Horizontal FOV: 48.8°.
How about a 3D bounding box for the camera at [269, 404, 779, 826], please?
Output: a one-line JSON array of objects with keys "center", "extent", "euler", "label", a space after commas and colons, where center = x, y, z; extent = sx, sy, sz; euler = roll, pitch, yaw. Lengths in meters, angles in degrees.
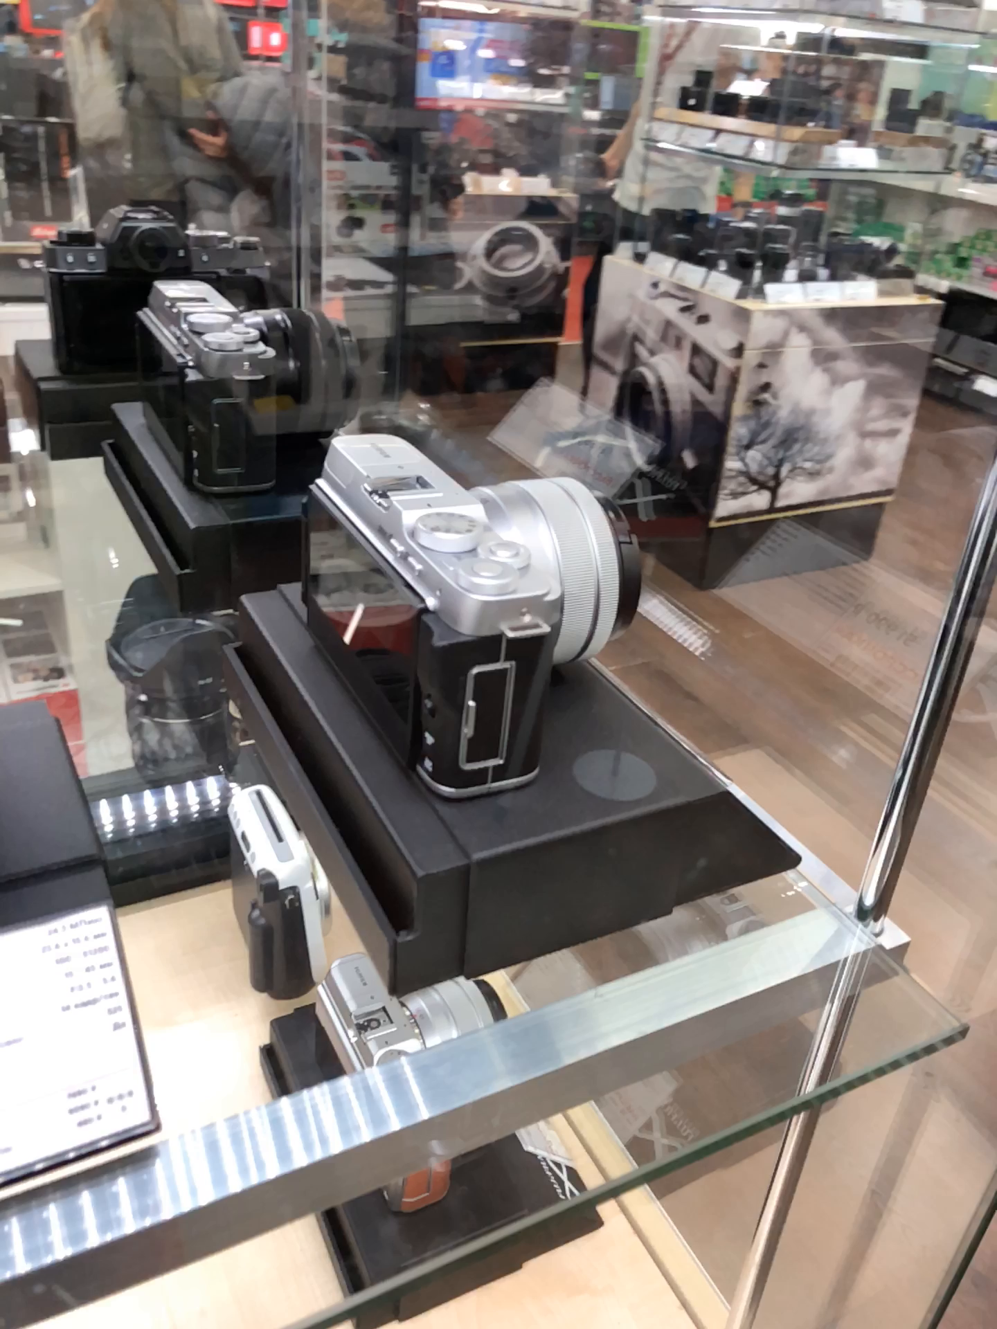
[{"center": [-0.002, -0.026, 0.340], "extent": [0.100, 0.066, 0.134], "euler": [-10, 33, -26], "label": "camera"}]
